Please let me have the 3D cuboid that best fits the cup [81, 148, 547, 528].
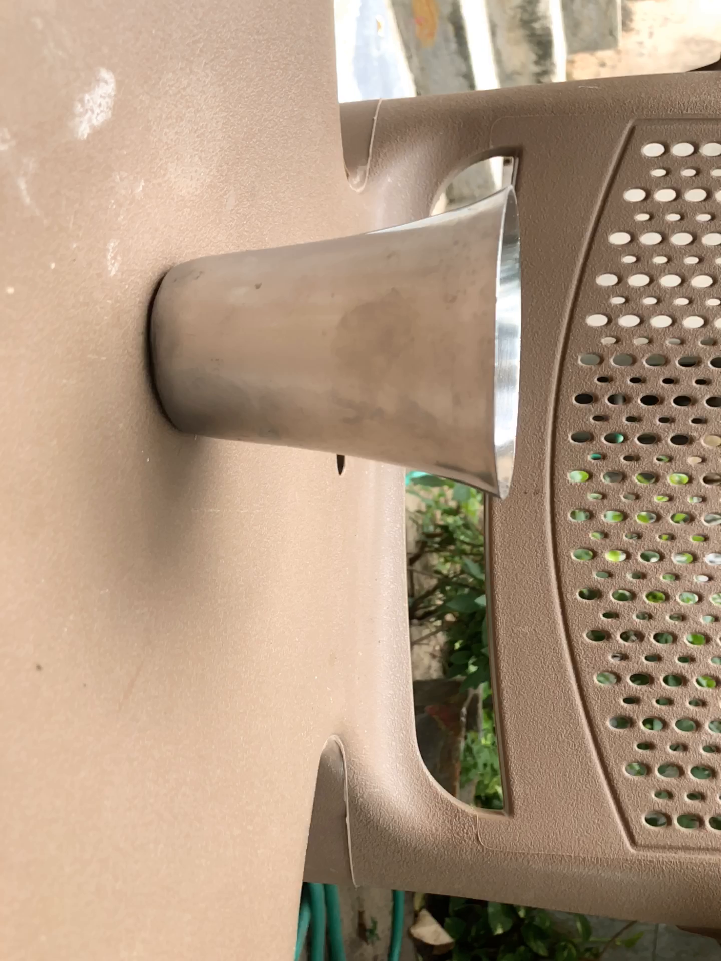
[{"bbox_3d":[-0.003,-0.039,0.229,0.080,0.099,0.070,-69,152,-48],"label":"cup"}]
